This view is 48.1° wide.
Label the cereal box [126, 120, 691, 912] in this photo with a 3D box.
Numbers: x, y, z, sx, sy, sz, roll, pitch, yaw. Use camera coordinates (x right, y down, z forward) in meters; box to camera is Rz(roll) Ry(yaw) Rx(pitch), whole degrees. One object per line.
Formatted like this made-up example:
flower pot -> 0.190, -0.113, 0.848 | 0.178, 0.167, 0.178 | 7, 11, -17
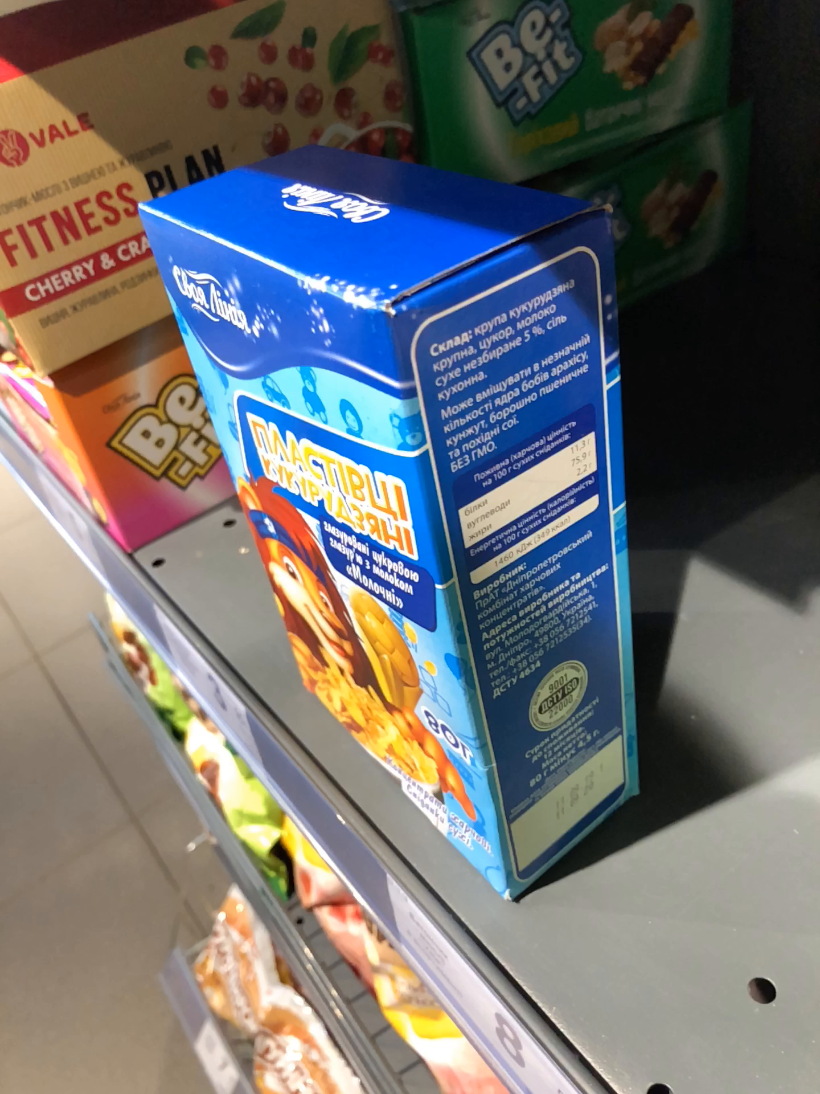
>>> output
cereal box -> 0.005, -0.009, 0.244 | 0.060, 0.169, 0.121 | -31, 41, -23
